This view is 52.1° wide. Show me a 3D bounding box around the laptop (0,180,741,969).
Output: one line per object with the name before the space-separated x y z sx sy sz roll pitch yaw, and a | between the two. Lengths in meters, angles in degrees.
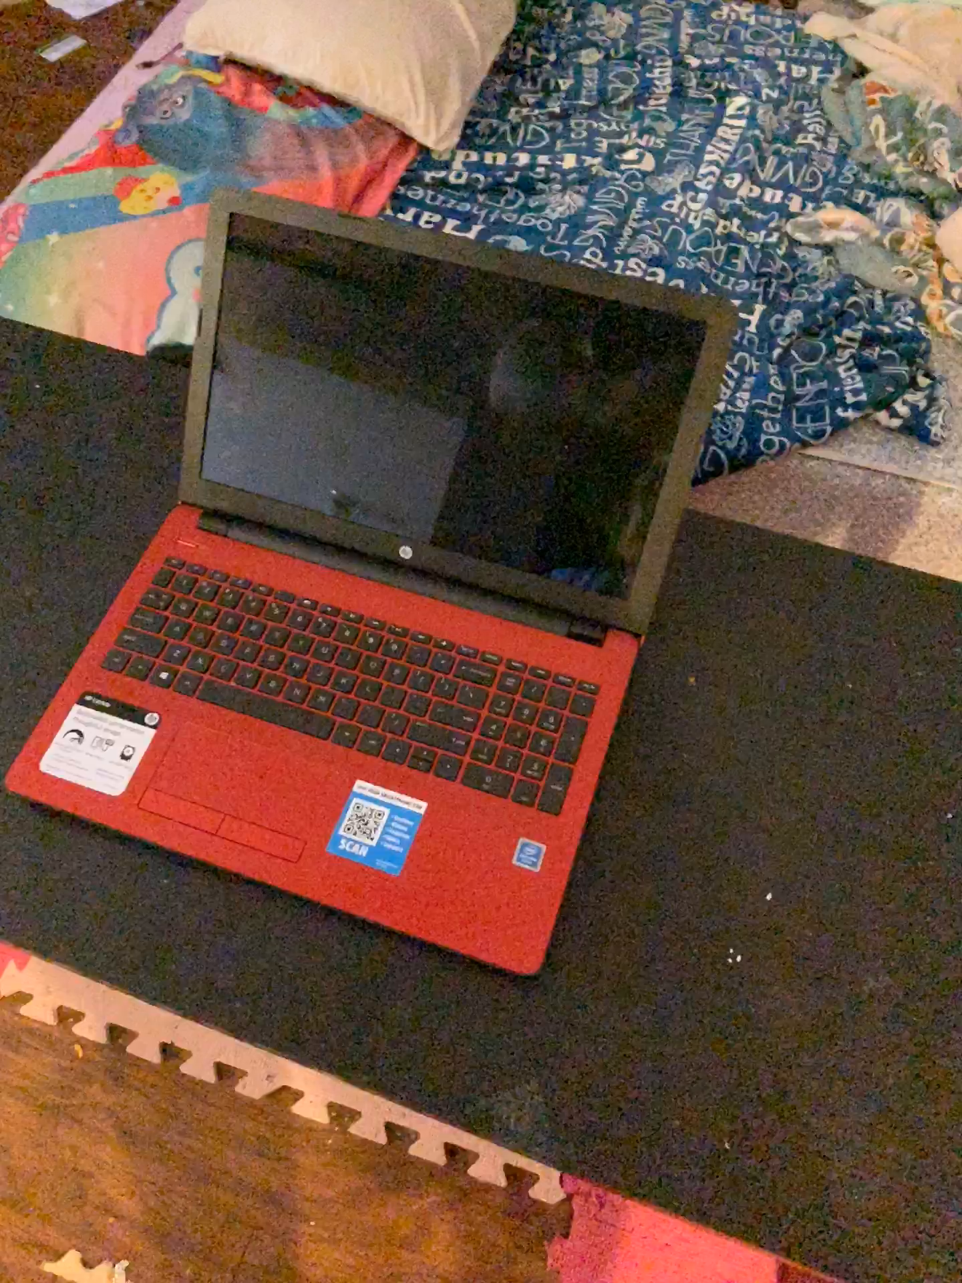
laptop | -0.075 -0.064 0.648 0.375 0.170 0.410 16 62 10
